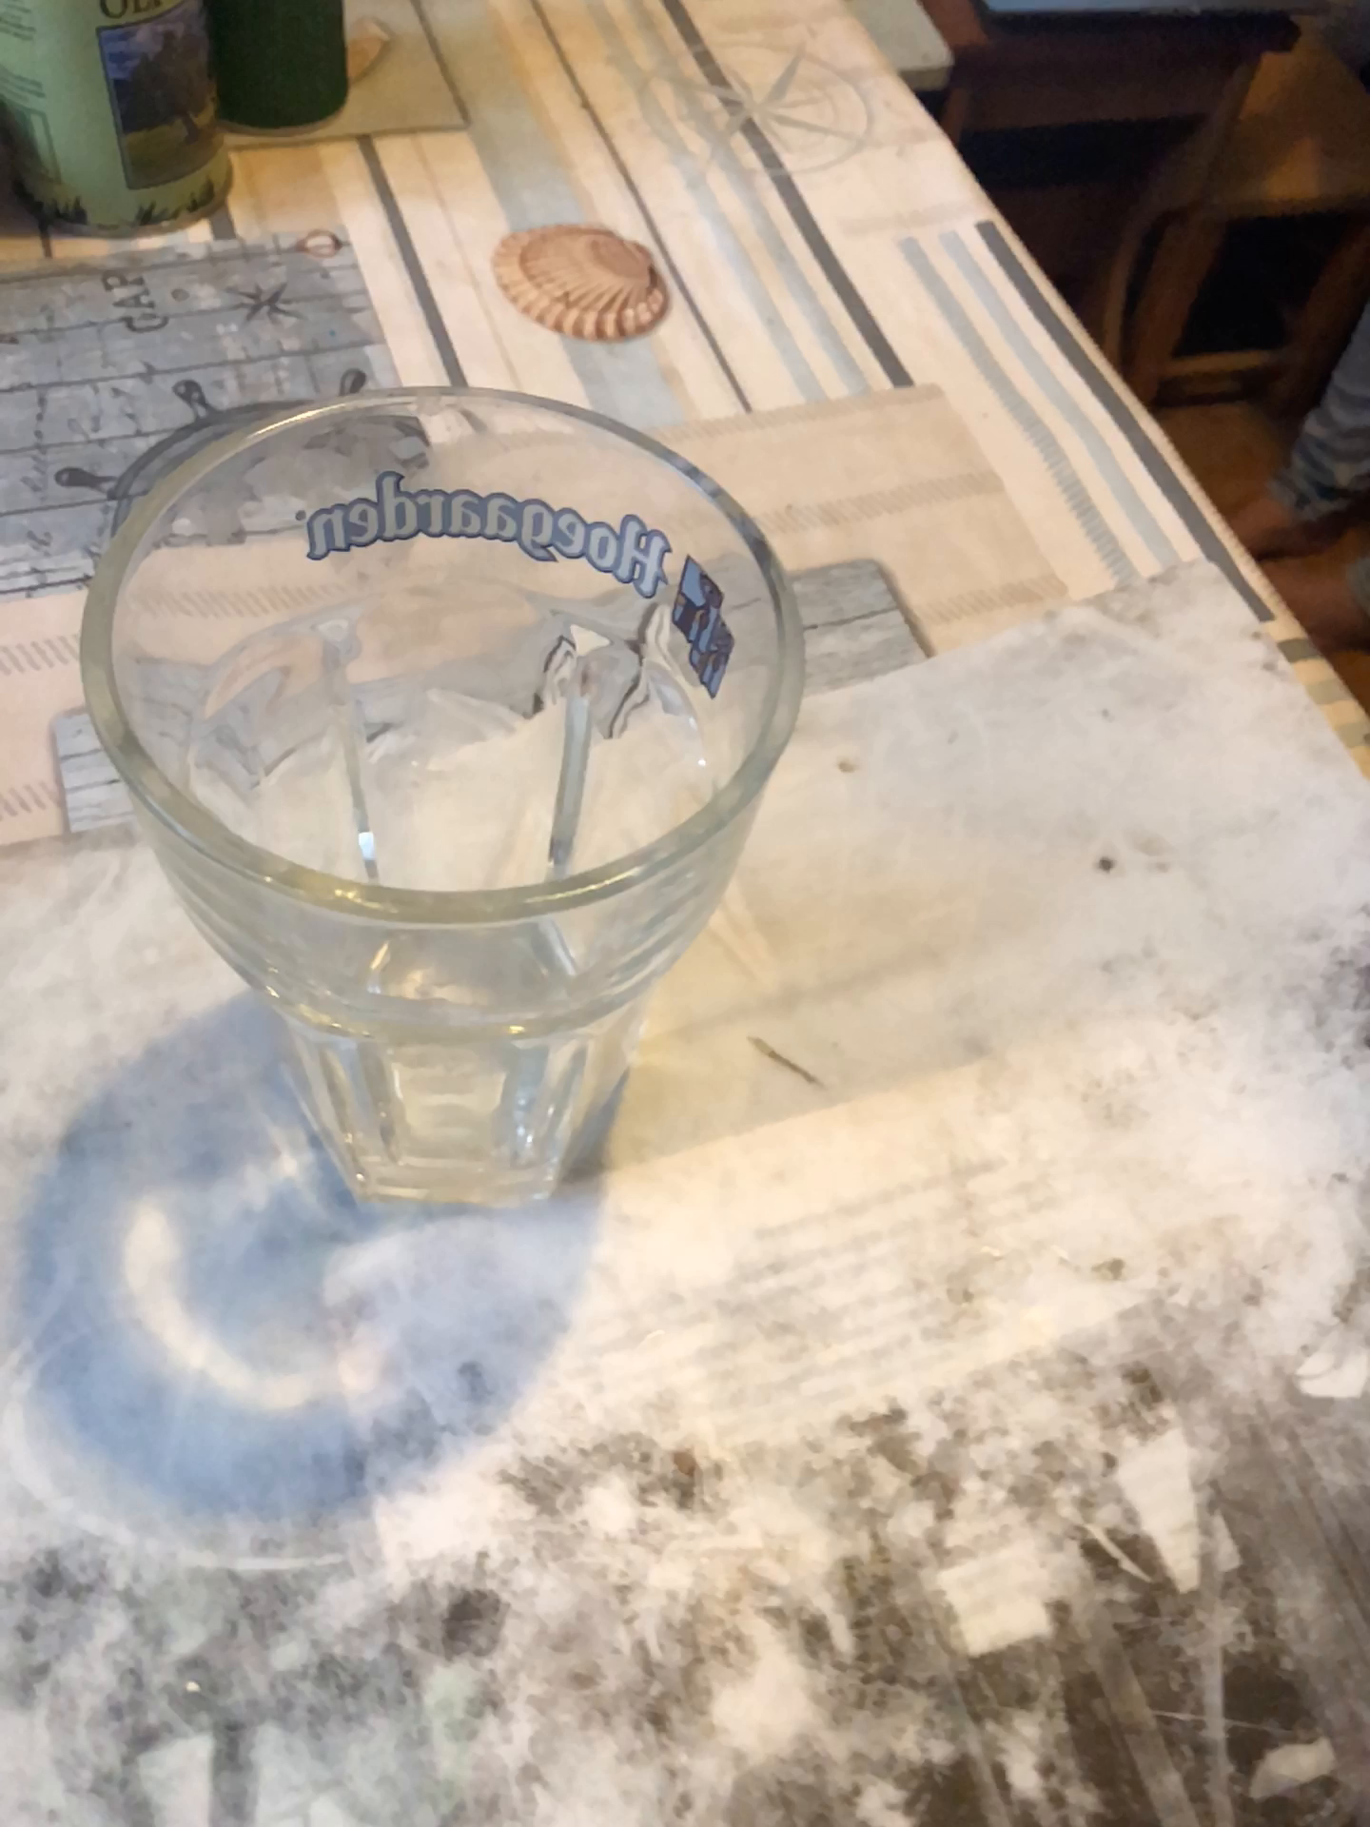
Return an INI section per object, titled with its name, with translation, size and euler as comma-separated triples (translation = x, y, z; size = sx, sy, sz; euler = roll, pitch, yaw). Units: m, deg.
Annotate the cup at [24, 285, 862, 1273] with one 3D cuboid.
[cup]
translation = -0.034, -0.014, 0.259
size = 0.098, 0.123, 0.099
euler = 5, 56, -8
